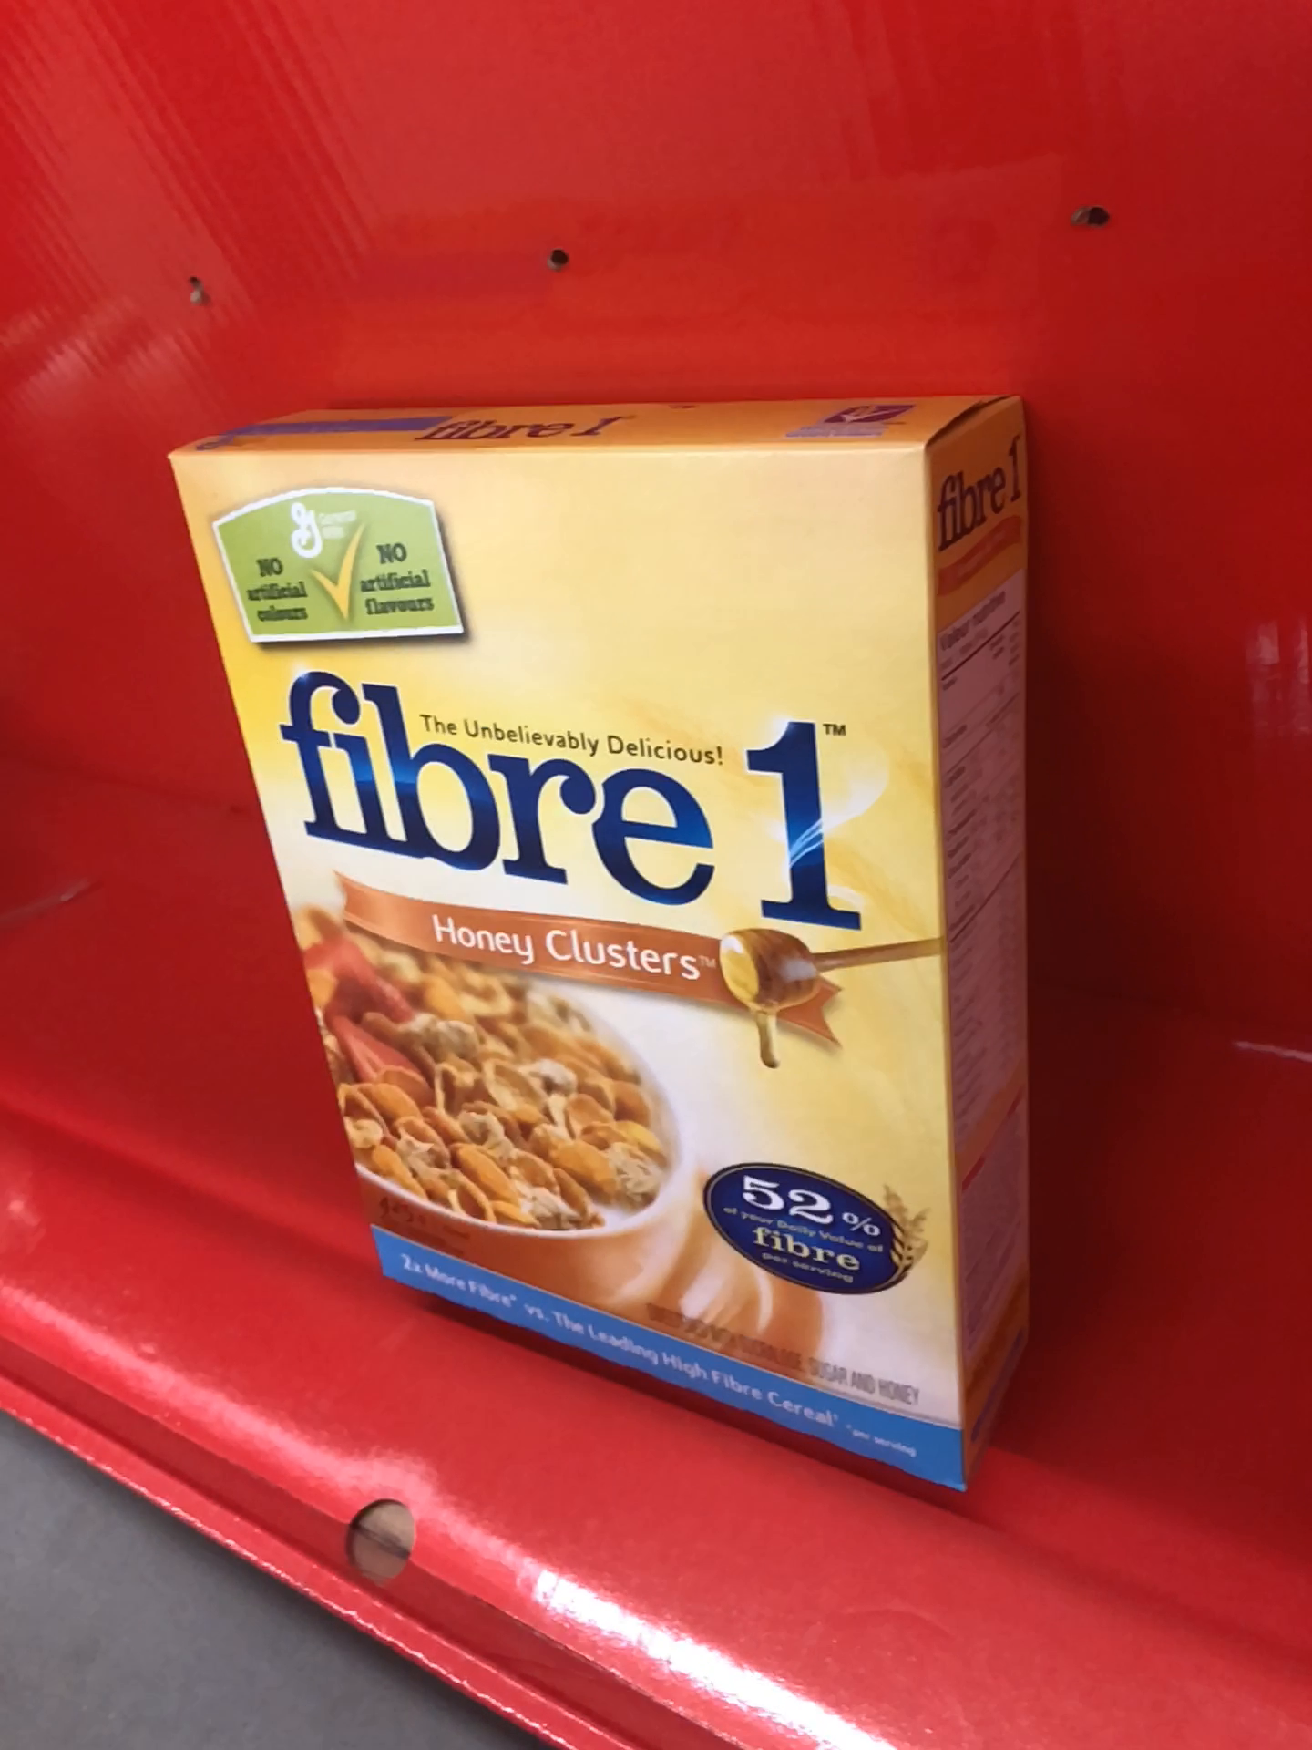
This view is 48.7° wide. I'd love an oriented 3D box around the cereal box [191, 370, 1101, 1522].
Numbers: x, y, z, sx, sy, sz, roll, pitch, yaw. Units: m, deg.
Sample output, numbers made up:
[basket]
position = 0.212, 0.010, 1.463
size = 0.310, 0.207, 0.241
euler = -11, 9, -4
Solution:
[cereal box]
position = 0.002, 0.015, 0.388
size = 0.211, 0.269, 0.060
euler = 9, 29, 31
